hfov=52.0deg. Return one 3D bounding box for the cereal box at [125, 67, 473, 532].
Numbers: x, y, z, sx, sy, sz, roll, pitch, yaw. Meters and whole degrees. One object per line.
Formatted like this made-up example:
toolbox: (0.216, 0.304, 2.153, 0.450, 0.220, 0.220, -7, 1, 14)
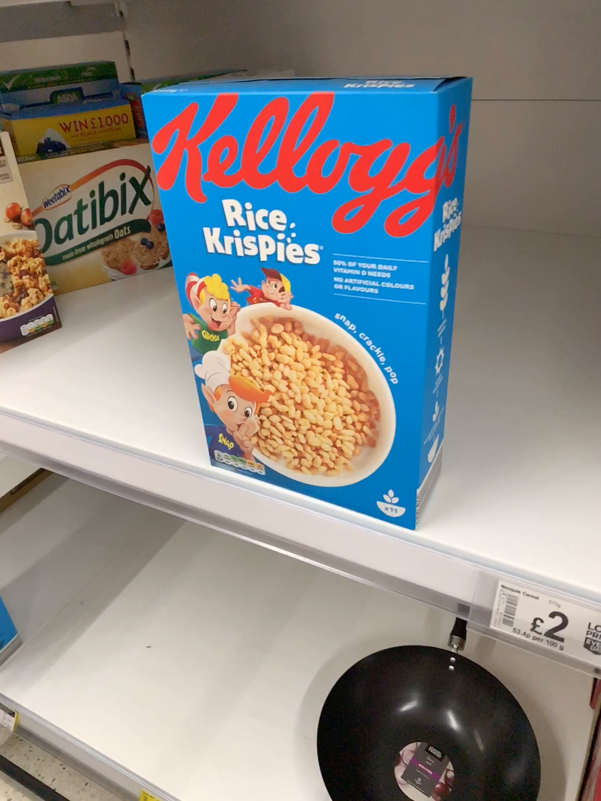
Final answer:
cereal box: (0.003, -0.068, 0.447, 0.200, 0.297, 0.071, 14, 36, 26)
